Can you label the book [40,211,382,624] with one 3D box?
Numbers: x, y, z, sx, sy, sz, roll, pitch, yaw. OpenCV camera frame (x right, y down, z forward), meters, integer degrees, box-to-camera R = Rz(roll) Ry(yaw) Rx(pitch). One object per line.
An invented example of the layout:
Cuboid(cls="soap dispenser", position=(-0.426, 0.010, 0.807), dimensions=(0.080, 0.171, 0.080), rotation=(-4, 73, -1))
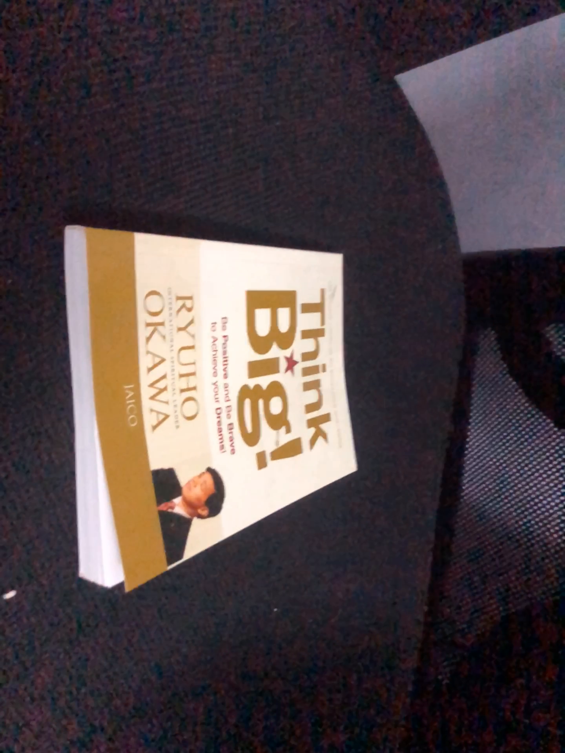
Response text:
Cuboid(cls="book", position=(-0.012, 0.004, 0.289), dimensions=(0.192, 0.025, 0.137), rotation=(-13, 101, -54))
